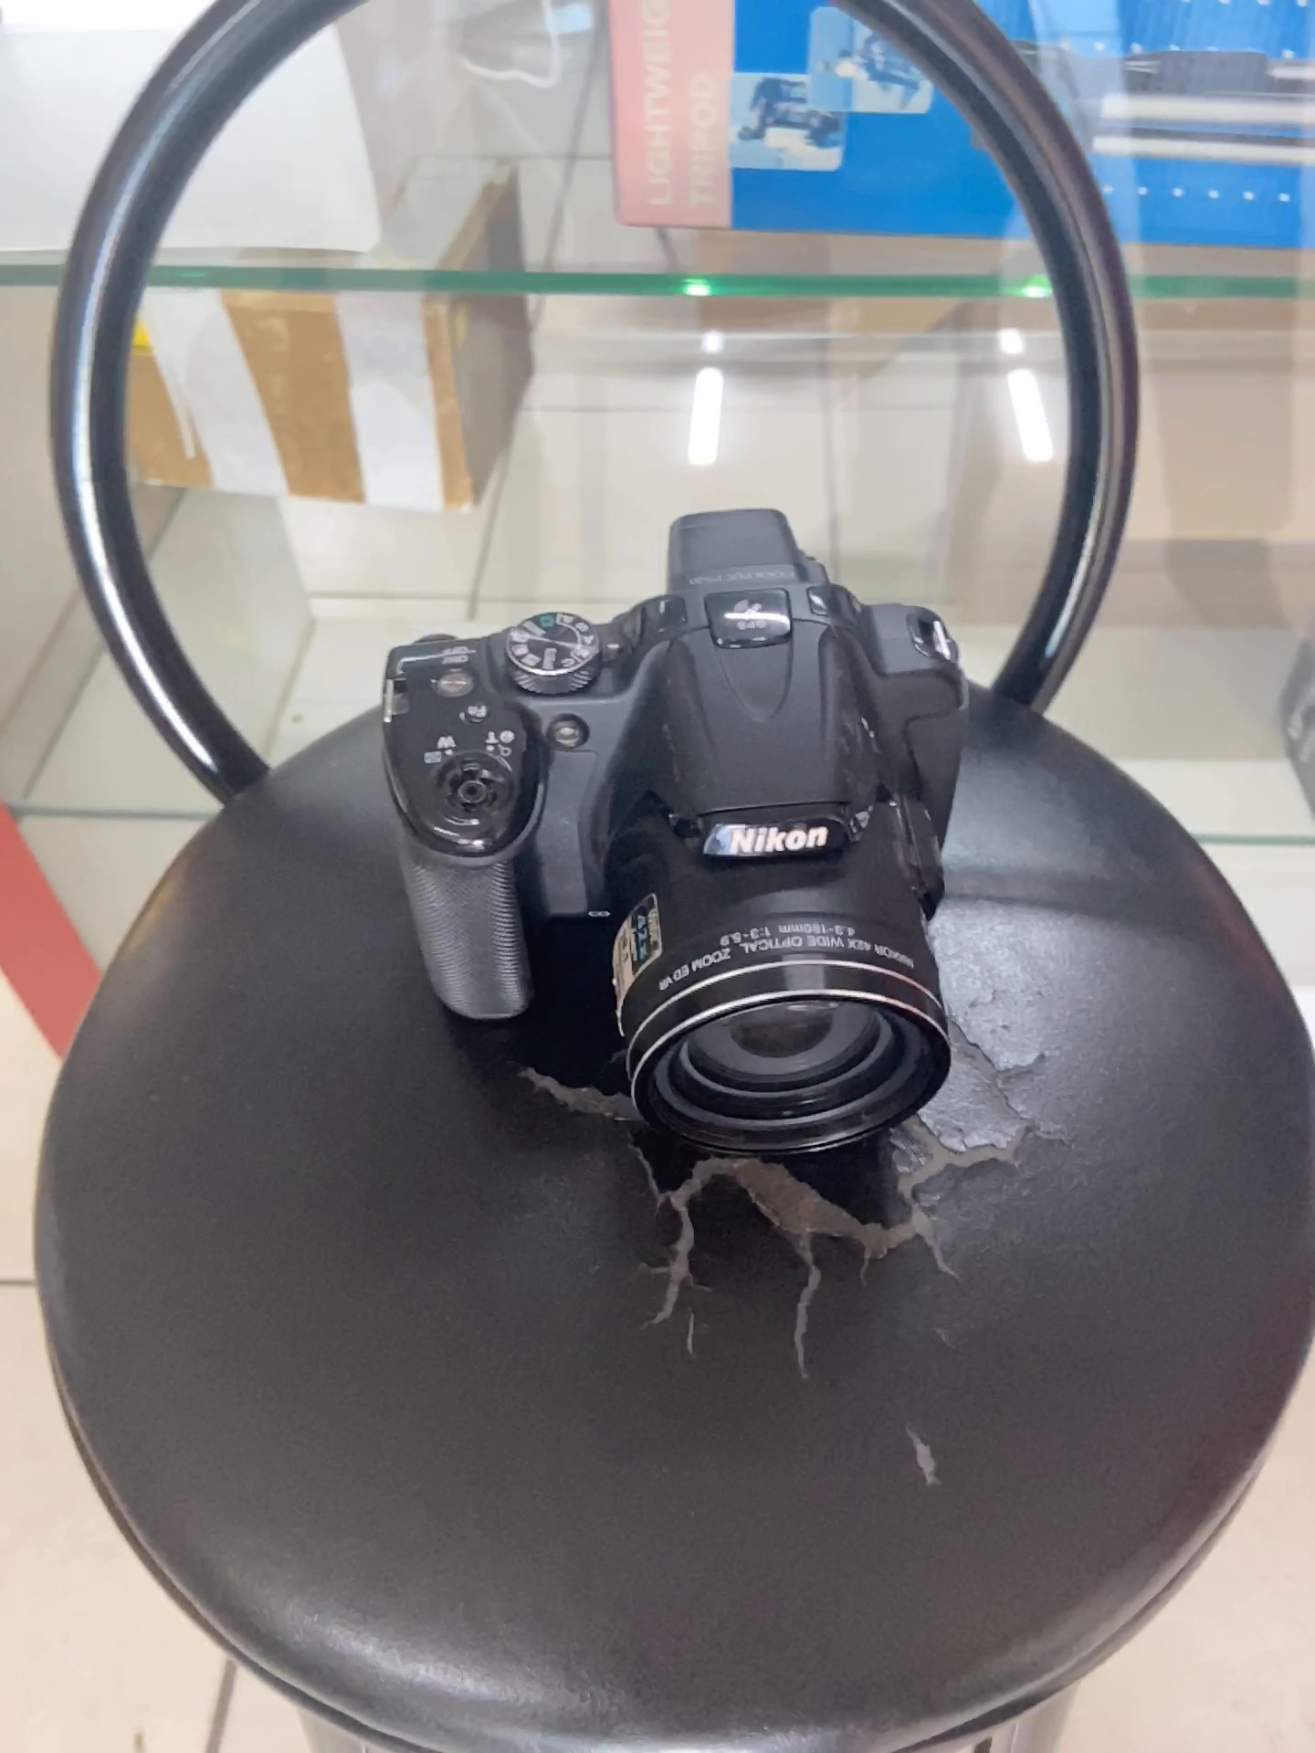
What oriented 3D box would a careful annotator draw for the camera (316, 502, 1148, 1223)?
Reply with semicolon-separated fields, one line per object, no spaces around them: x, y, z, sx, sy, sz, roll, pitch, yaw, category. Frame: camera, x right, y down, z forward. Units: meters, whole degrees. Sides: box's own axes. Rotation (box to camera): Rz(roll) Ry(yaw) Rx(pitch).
0.008;-0.007;0.278;0.130;0.070;0.121;-5;48;-2;camera
